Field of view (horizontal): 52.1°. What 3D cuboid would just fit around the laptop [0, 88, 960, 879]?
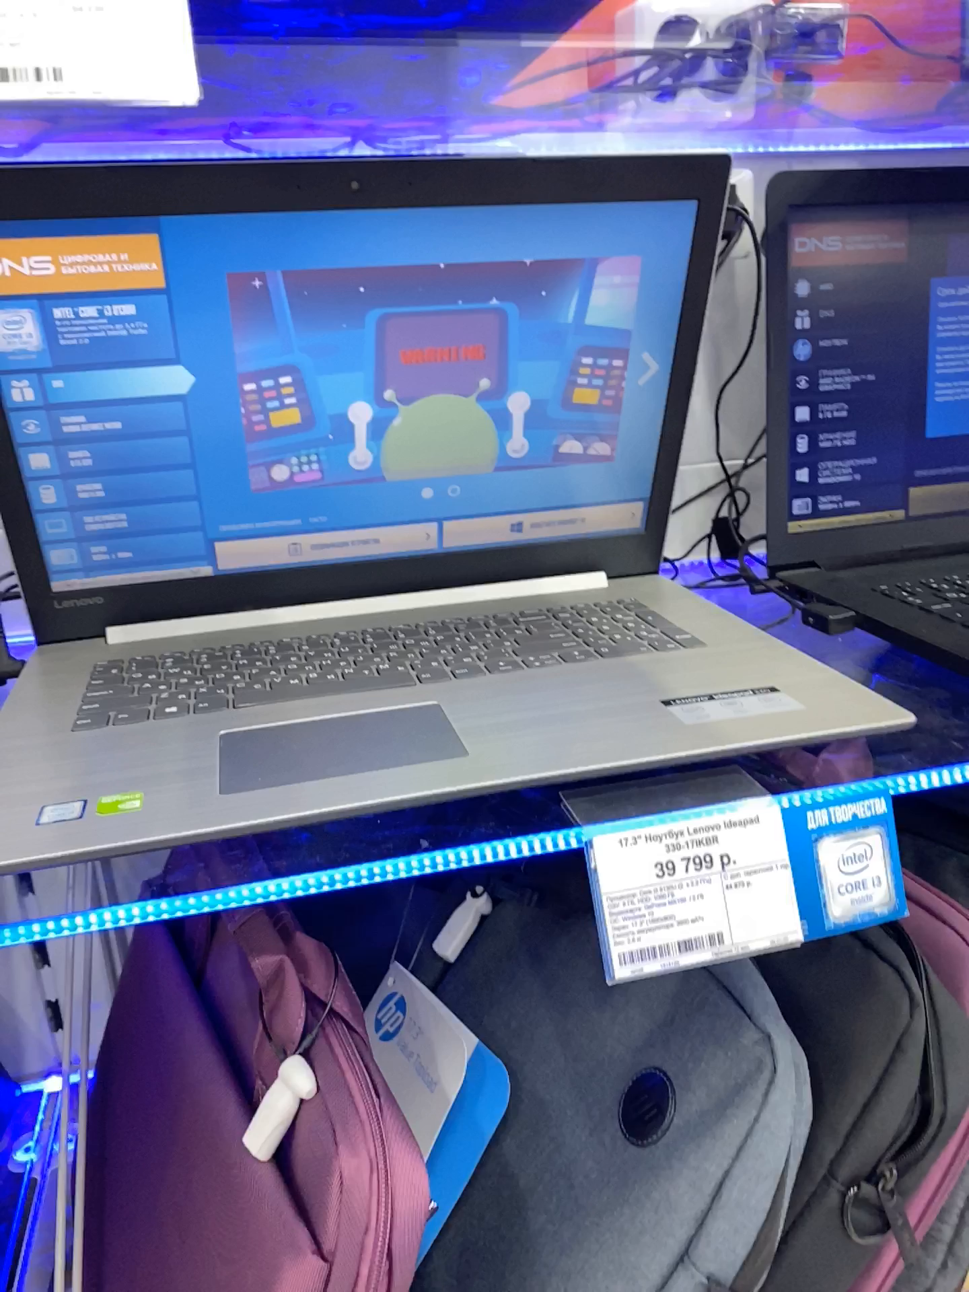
[{"bbox_3d":[-0.051,-0.104,0.496,0.417,0.256,0.280,-7,18,-12],"label":"laptop"}]
